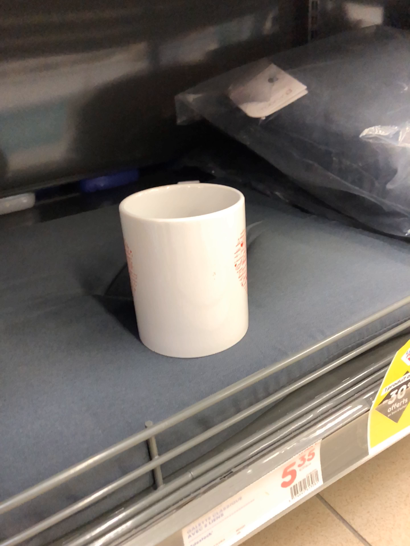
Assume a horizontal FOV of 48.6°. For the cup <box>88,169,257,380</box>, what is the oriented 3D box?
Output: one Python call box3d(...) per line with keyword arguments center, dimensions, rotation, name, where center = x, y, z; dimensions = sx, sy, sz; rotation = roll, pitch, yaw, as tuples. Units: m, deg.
box3d(center=(-0.018, -0.007, 0.325), dimensions=(0.090, 0.099, 0.121), rotation=(-5, 26, 0), name="cup")
